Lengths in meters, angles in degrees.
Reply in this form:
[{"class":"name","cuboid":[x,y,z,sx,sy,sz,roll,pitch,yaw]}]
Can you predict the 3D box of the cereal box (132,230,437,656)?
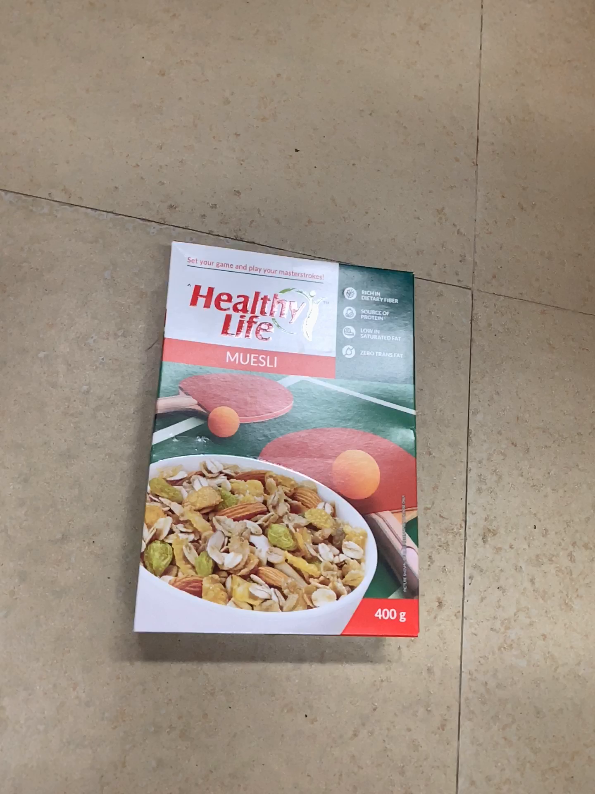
[{"class":"cereal box","cuboid":[-0.008,0.031,0.380,0.160,0.080,0.230,6,75,-13]}]
